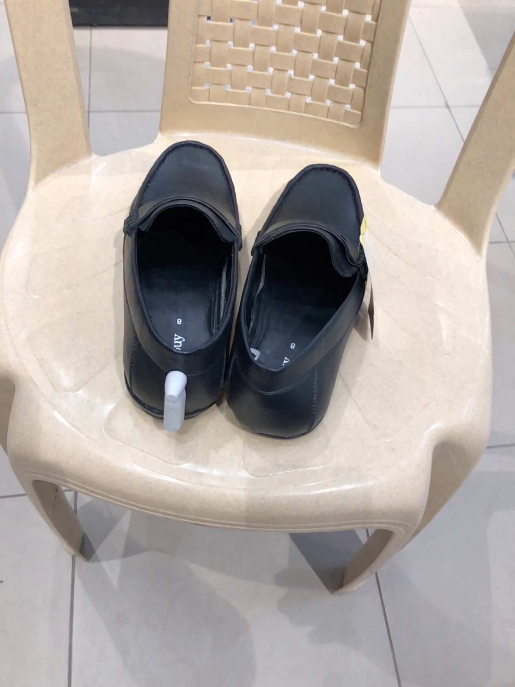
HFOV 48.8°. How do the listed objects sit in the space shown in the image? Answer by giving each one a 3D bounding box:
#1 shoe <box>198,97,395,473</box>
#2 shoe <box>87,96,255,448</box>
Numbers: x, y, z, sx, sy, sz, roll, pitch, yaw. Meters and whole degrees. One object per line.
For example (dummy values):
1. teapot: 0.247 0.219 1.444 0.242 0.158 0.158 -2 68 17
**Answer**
1. shoe: 0.037 -0.058 0.446 0.100 0.088 0.284 11 60 2
2. shoe: -0.057 -0.065 0.448 0.100 0.088 0.276 1 60 -4
